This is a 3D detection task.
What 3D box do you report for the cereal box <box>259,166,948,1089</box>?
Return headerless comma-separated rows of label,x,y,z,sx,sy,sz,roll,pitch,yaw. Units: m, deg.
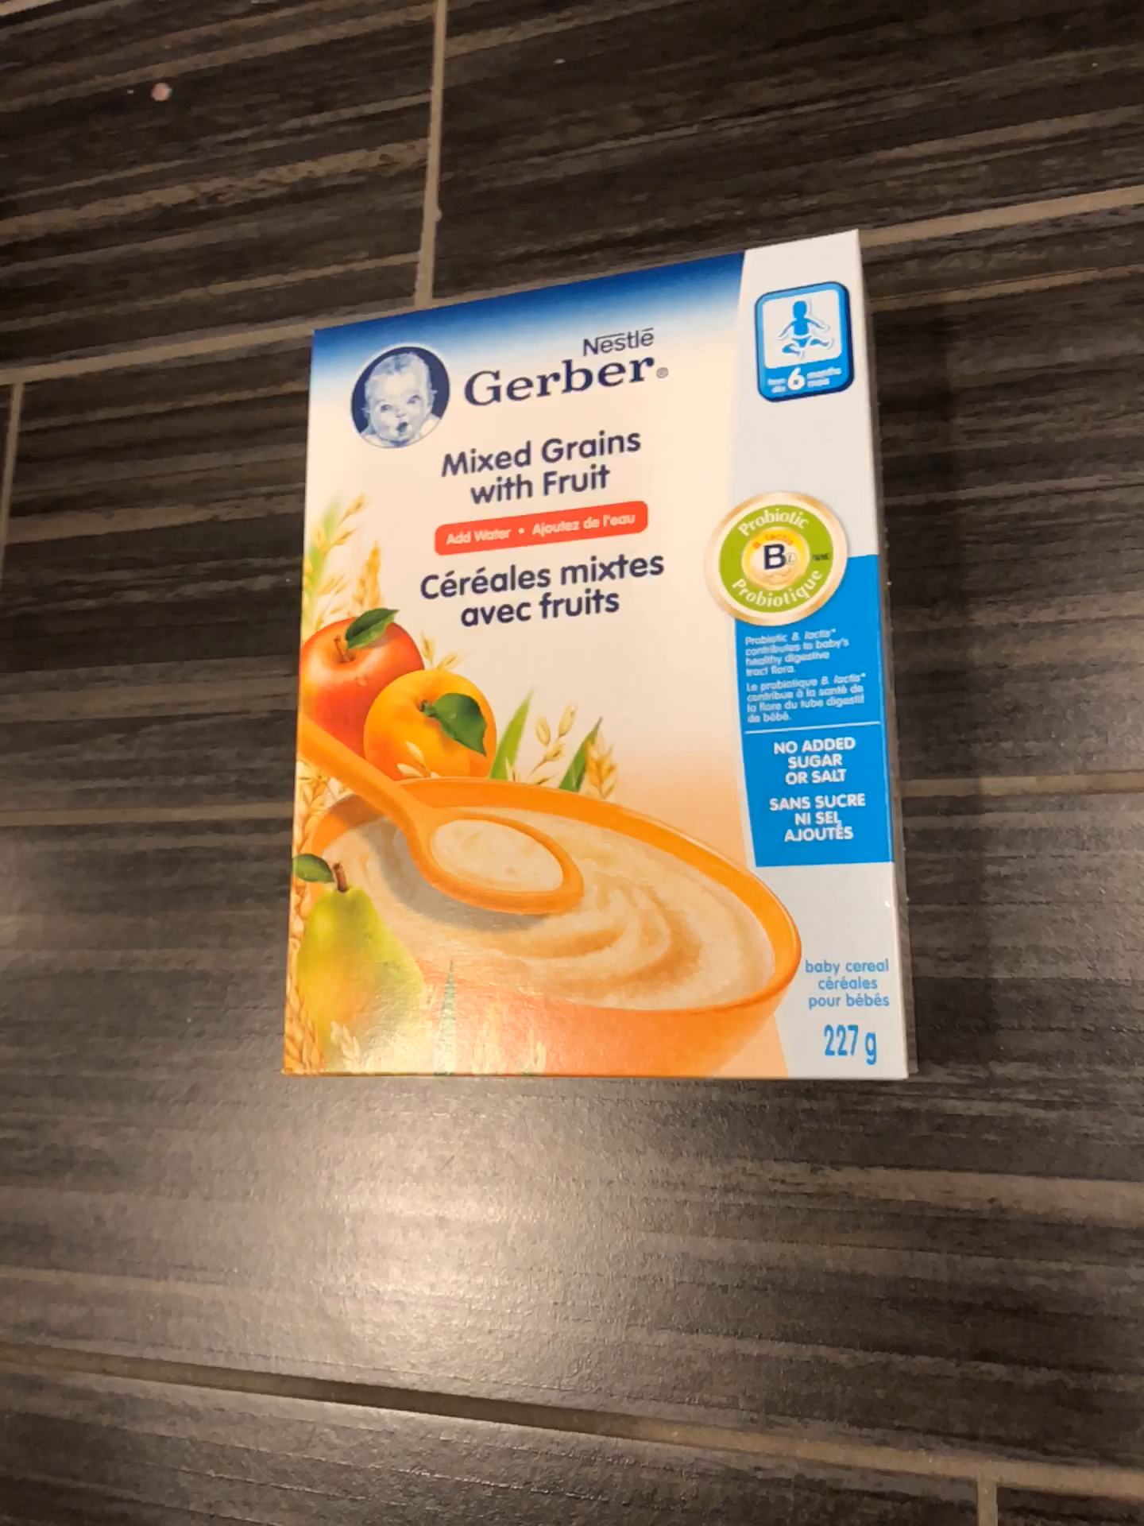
cereal box,0.007,-0.026,0.311,0.150,0.050,0.200,-4,79,17
